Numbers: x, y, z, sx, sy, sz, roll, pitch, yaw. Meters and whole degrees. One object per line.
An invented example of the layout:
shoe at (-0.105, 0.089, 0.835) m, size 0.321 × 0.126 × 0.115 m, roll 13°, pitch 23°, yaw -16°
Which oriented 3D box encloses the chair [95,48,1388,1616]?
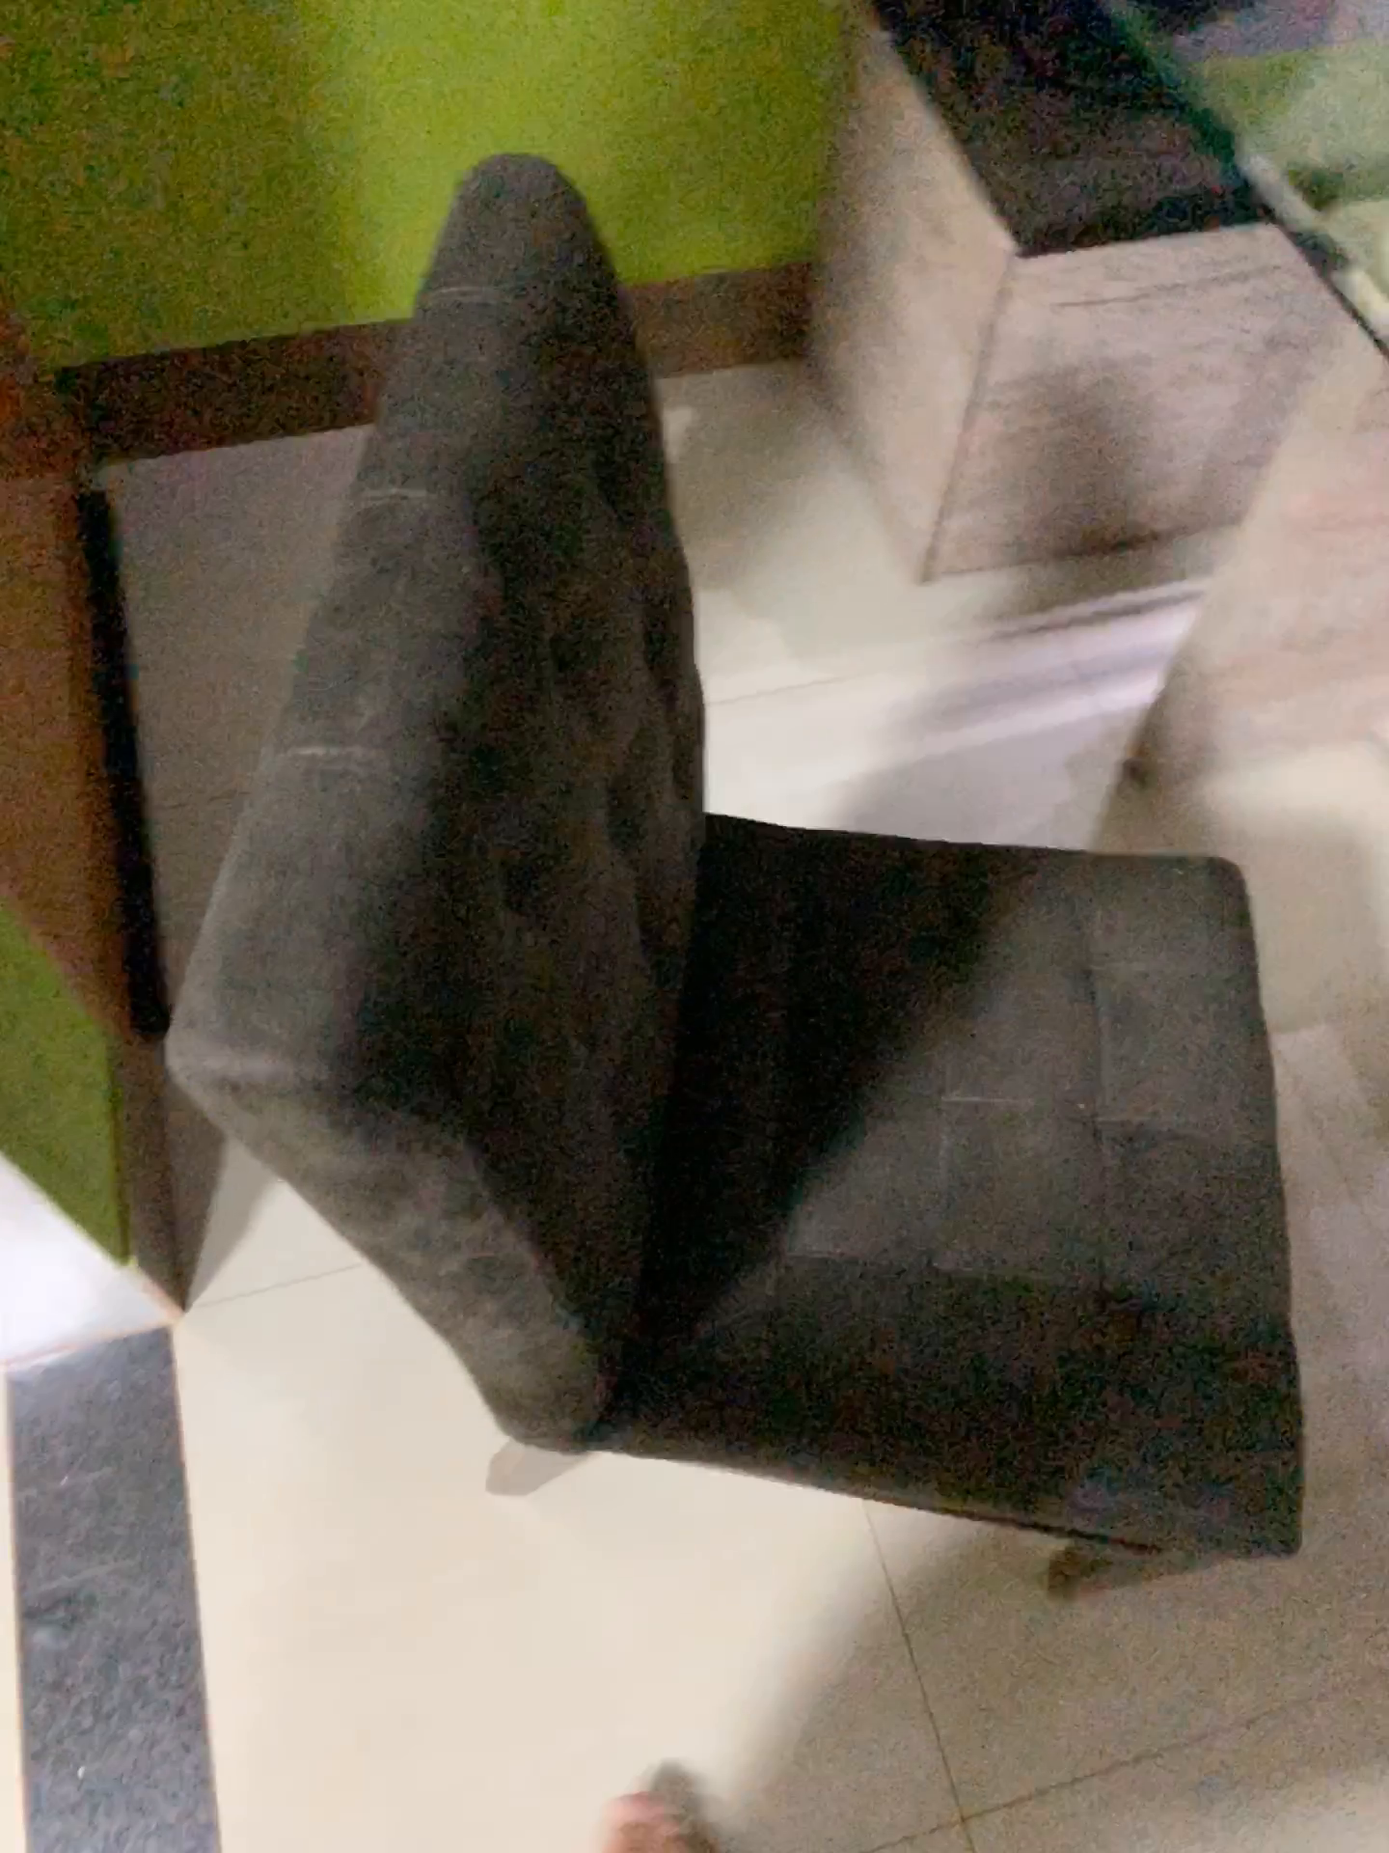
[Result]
chair at (0.128, 0.092, 0.947) m, size 0.570 × 0.974 × 0.543 m, roll 7°, pitch 60°, yaw 1°
